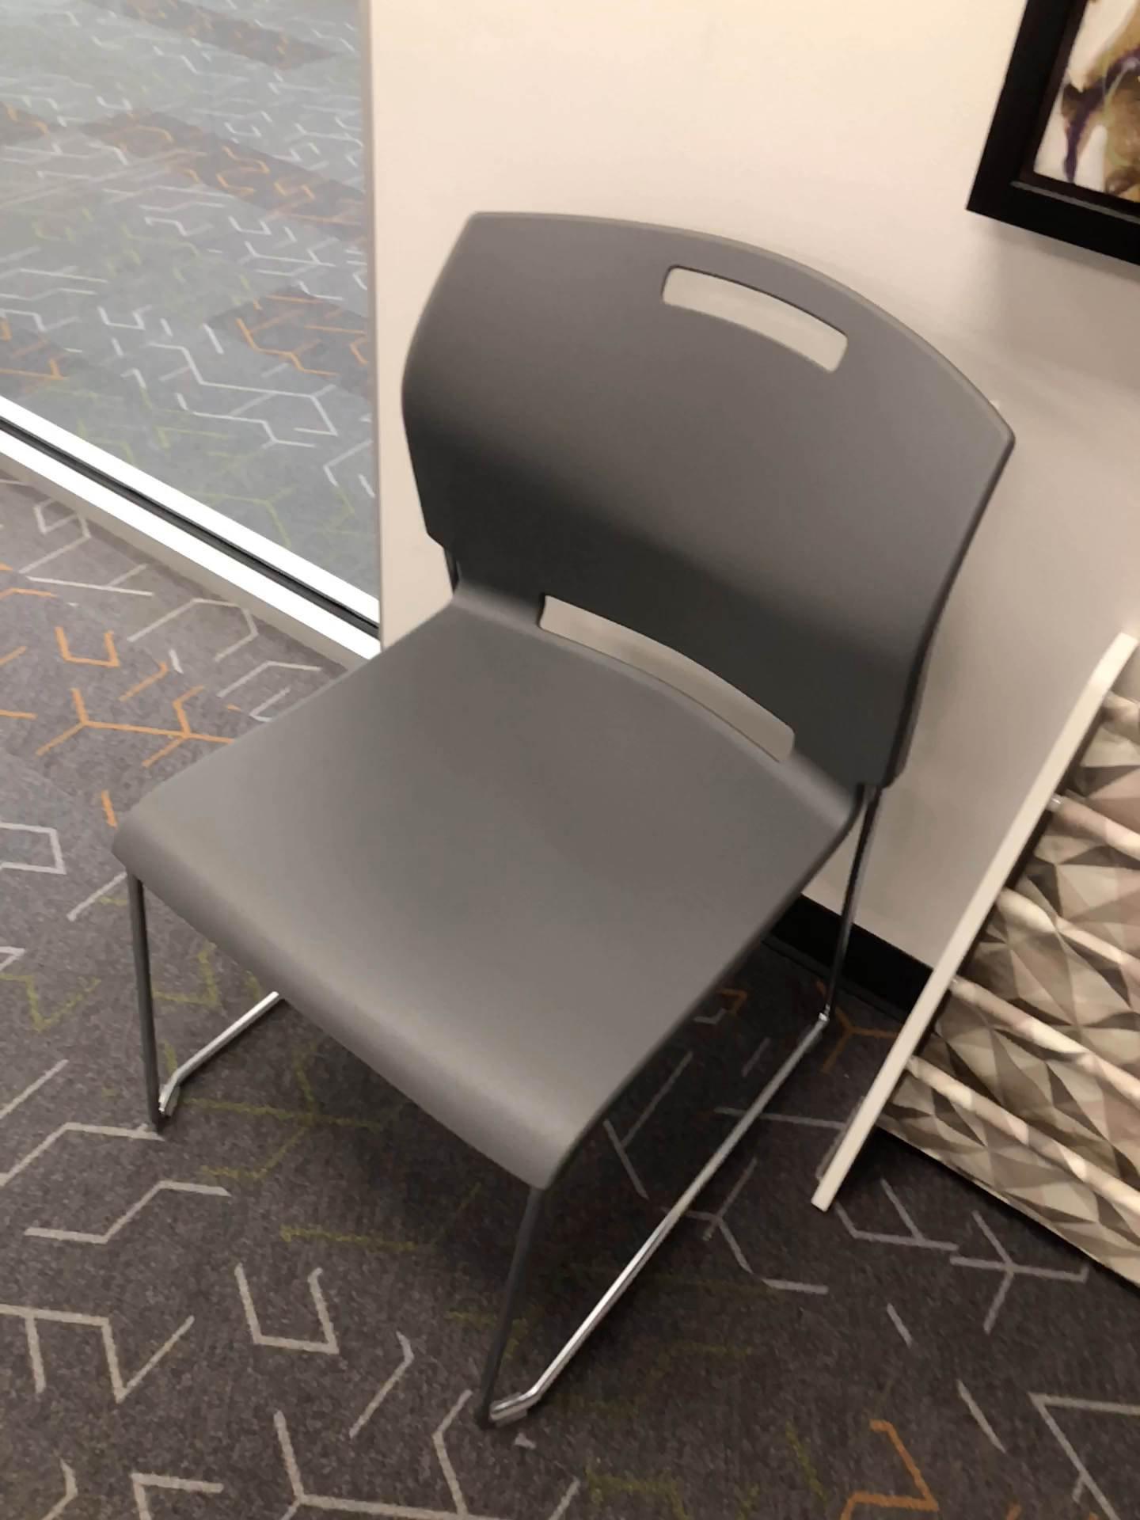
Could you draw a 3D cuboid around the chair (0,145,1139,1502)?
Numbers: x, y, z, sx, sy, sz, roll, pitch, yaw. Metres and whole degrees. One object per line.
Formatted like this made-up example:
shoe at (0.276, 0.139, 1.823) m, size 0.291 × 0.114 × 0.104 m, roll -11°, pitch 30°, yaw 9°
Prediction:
chair at (-0.038, 0.022, 1.058) m, size 0.581 × 0.735 × 0.673 m, roll 31°, pitch 49°, yaw 22°
